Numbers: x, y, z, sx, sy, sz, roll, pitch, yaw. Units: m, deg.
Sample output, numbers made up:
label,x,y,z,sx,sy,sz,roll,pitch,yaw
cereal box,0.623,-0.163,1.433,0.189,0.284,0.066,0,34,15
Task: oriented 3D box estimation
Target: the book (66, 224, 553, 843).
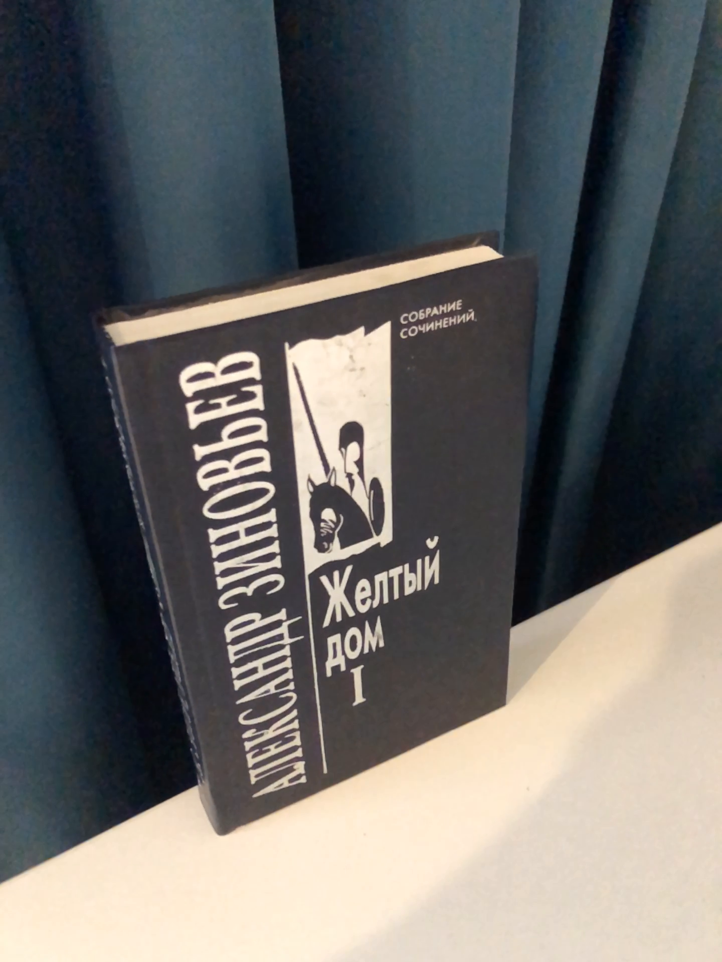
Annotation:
label,x,y,z,sx,sy,sz,roll,pitch,yaw
book,-0.007,0.028,0.291,0.140,0.210,0.033,-18,37,-21
